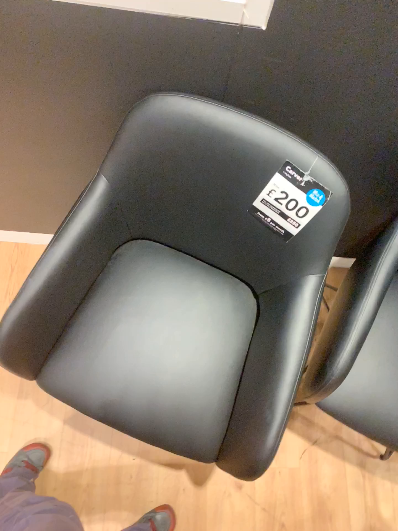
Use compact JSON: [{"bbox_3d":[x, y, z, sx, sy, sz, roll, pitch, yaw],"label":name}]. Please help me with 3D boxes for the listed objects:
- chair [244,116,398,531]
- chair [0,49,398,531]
[{"bbox_3d":[0.558,0.224,1.022,0.563,0.841,0.593,21,70,1],"label":"chair"},{"bbox_3d":[-0.071,0.122,0.960,0.603,0.781,0.593,24,70,2],"label":"chair"}]
